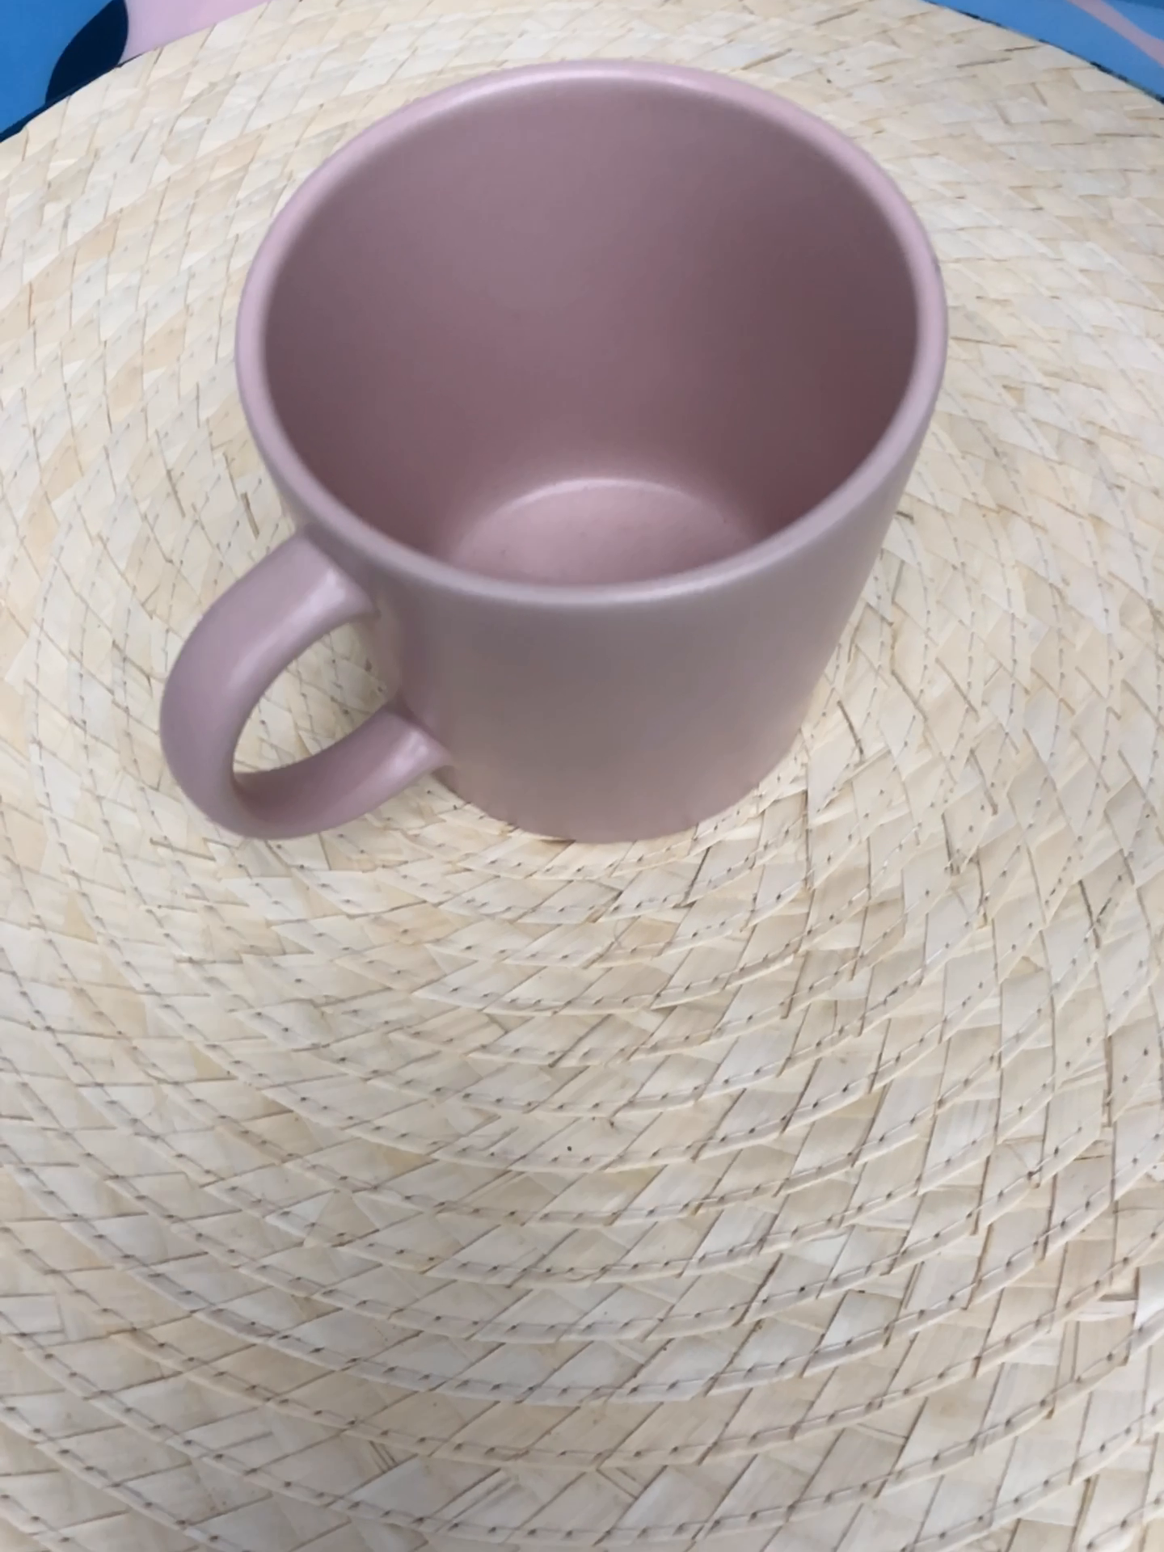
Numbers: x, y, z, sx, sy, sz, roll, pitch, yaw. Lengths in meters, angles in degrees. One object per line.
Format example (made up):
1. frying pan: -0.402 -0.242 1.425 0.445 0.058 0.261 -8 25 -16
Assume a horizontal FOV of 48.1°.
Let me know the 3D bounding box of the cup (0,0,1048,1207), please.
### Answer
1. cup: -0.022 -0.028 0.194 0.100 0.090 0.130 38 72 20
